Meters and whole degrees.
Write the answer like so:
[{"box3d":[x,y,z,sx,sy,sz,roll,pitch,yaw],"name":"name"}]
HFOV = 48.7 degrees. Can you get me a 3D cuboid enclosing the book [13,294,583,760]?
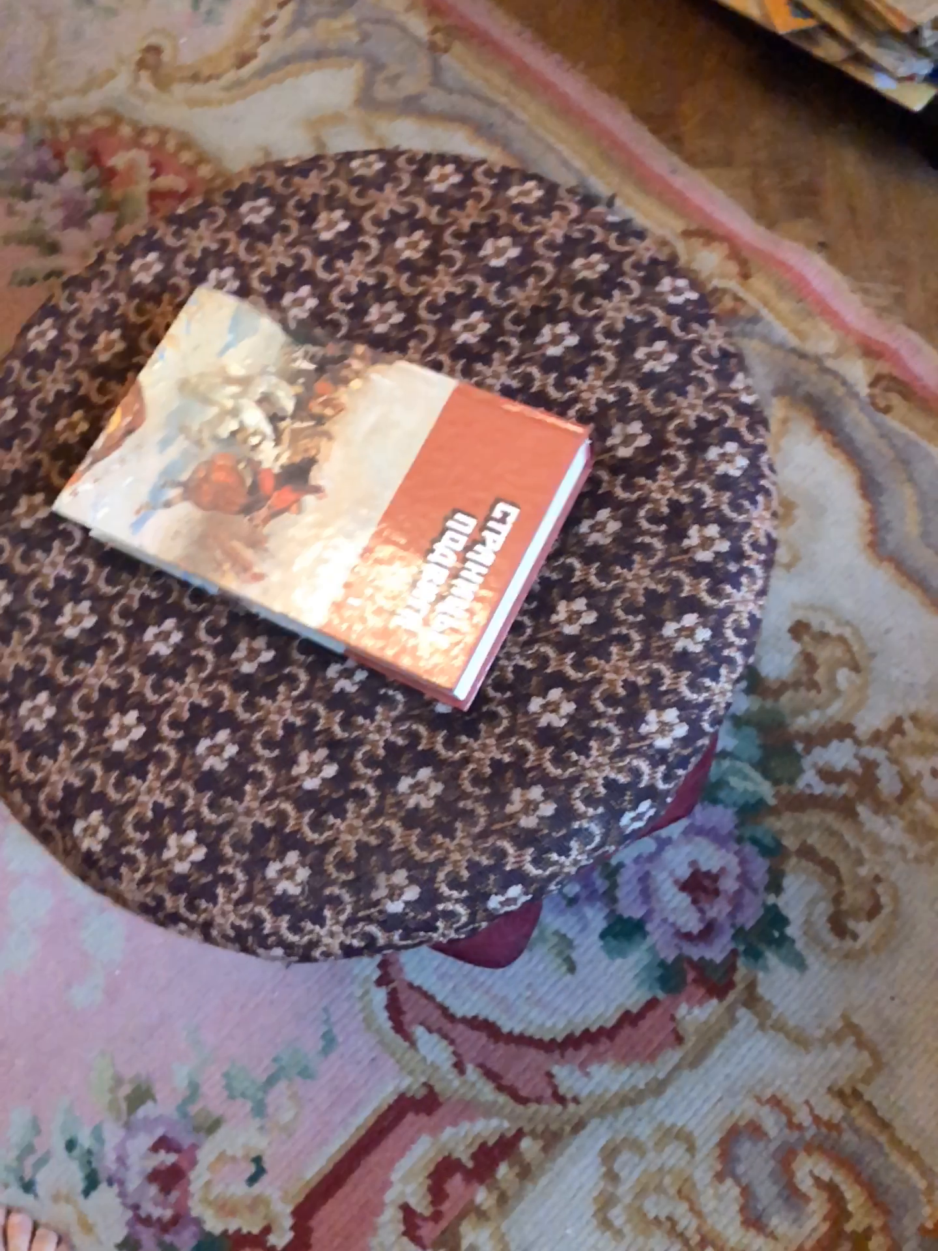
[{"box3d":[-0.073,-0.049,0.455,0.206,0.040,0.135,24,75,15],"name":"book"}]
